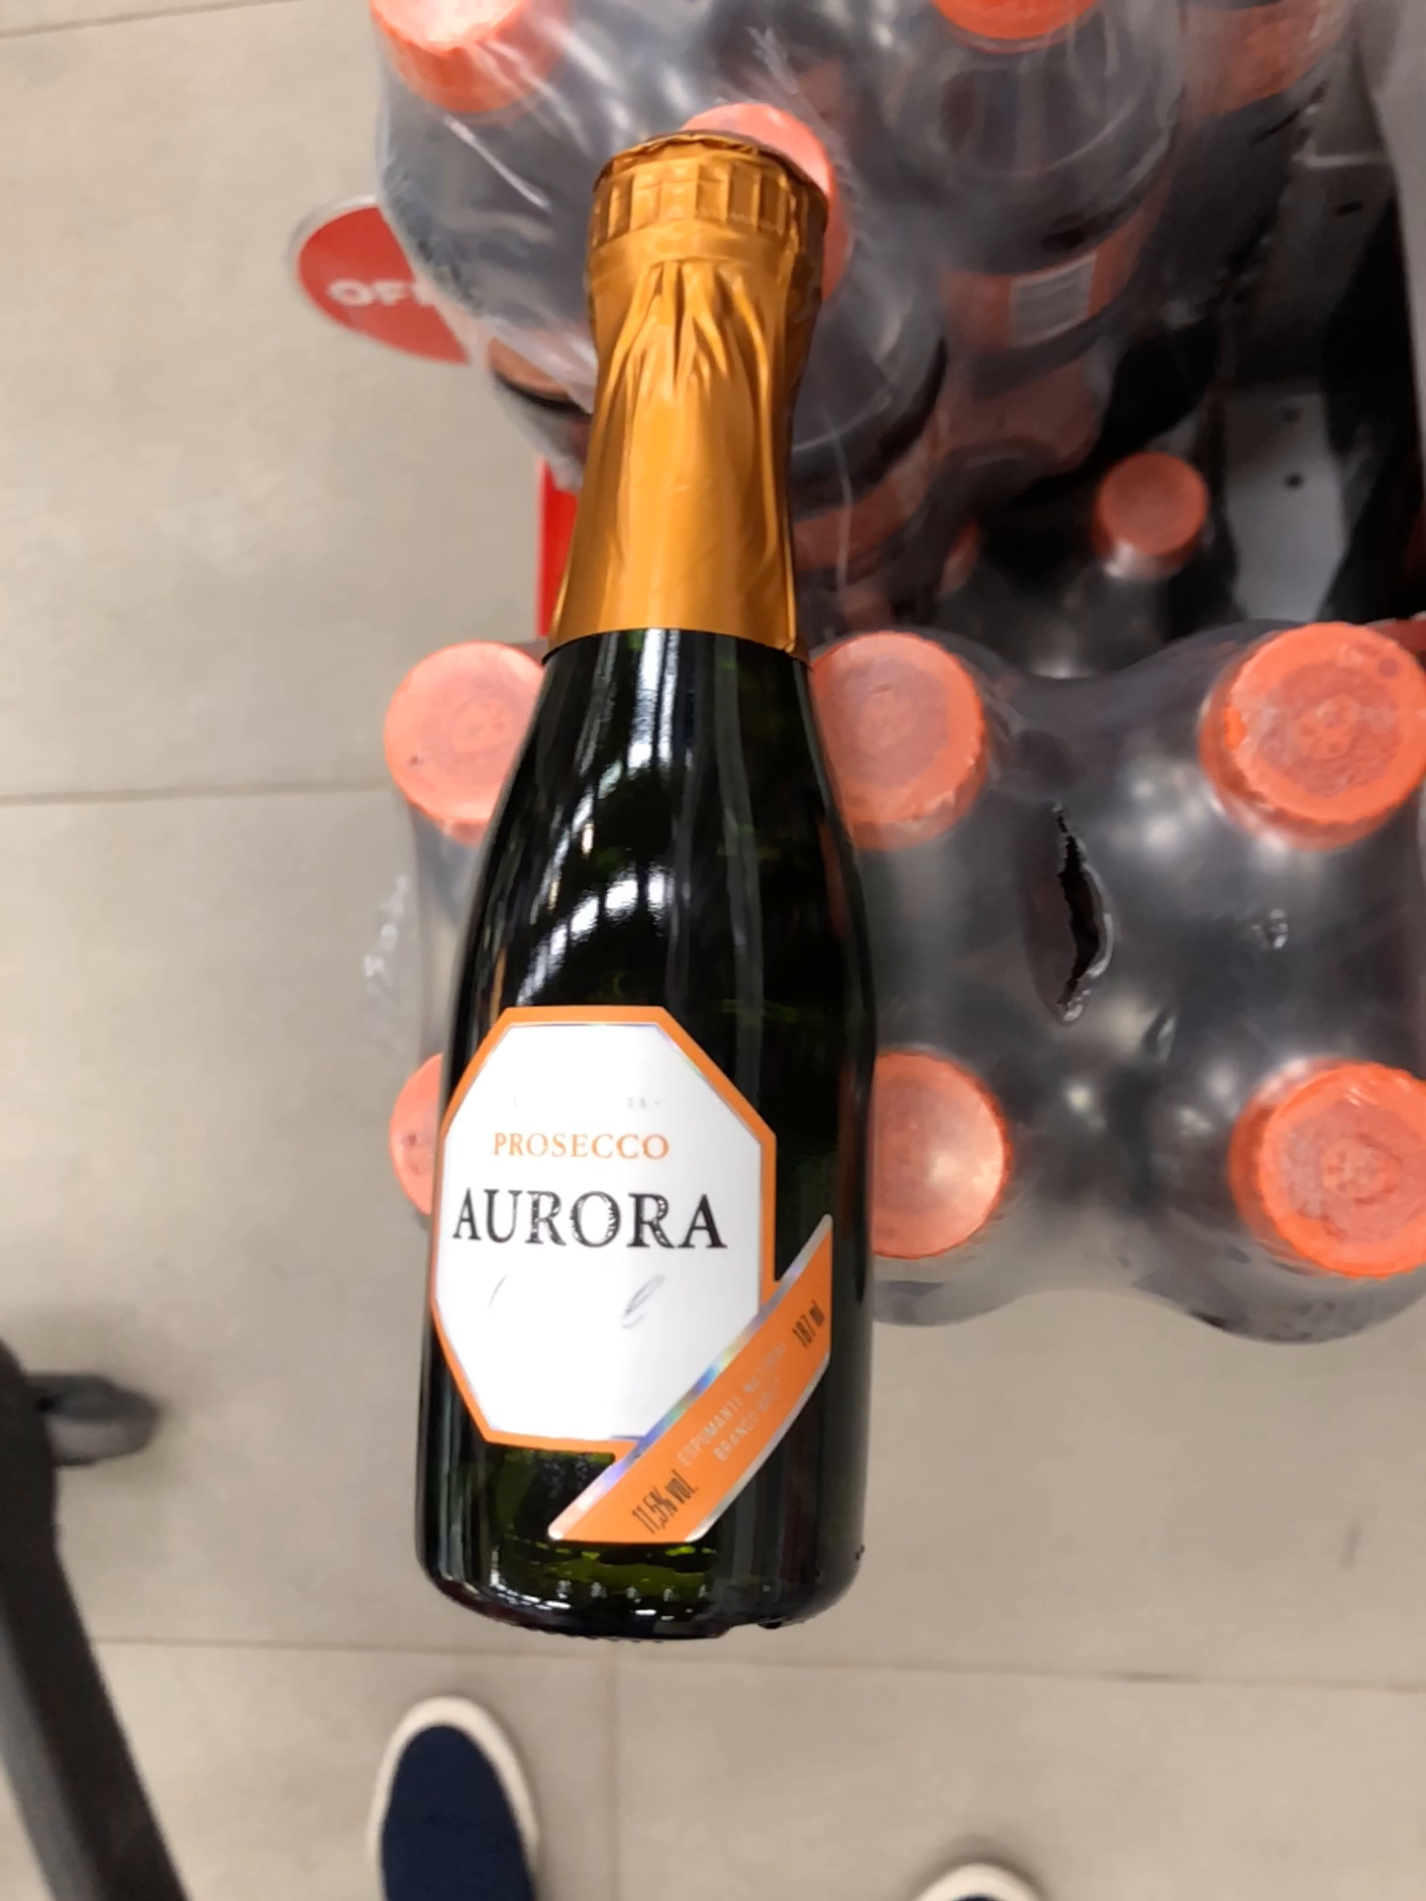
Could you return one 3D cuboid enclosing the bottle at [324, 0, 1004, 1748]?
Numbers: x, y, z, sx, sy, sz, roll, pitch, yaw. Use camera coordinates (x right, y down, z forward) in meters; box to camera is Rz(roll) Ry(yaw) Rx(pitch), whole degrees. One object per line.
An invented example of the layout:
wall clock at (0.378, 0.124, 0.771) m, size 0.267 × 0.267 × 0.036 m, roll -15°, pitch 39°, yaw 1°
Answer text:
bottle at (-0.002, -0.011, 0.192) m, size 0.060 × 0.050 × 0.180 m, roll 3°, pitch 87°, yaw 8°
